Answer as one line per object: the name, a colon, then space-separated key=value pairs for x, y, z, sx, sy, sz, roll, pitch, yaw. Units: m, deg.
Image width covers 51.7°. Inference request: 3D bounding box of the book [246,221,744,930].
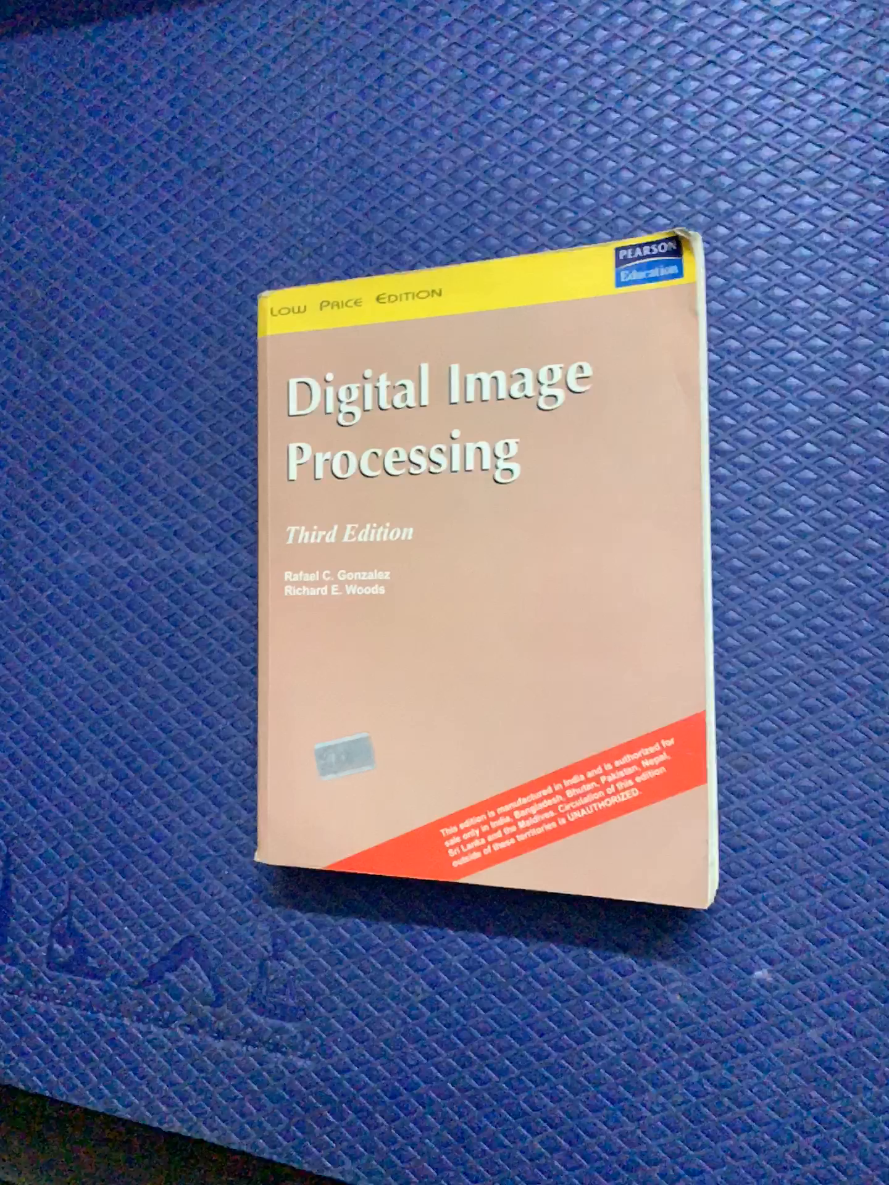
book: x=0.018 y=-0.006 z=0.338 sx=0.174 sy=0.045 sz=0.225 roll=0 pitch=87 yaw=17
